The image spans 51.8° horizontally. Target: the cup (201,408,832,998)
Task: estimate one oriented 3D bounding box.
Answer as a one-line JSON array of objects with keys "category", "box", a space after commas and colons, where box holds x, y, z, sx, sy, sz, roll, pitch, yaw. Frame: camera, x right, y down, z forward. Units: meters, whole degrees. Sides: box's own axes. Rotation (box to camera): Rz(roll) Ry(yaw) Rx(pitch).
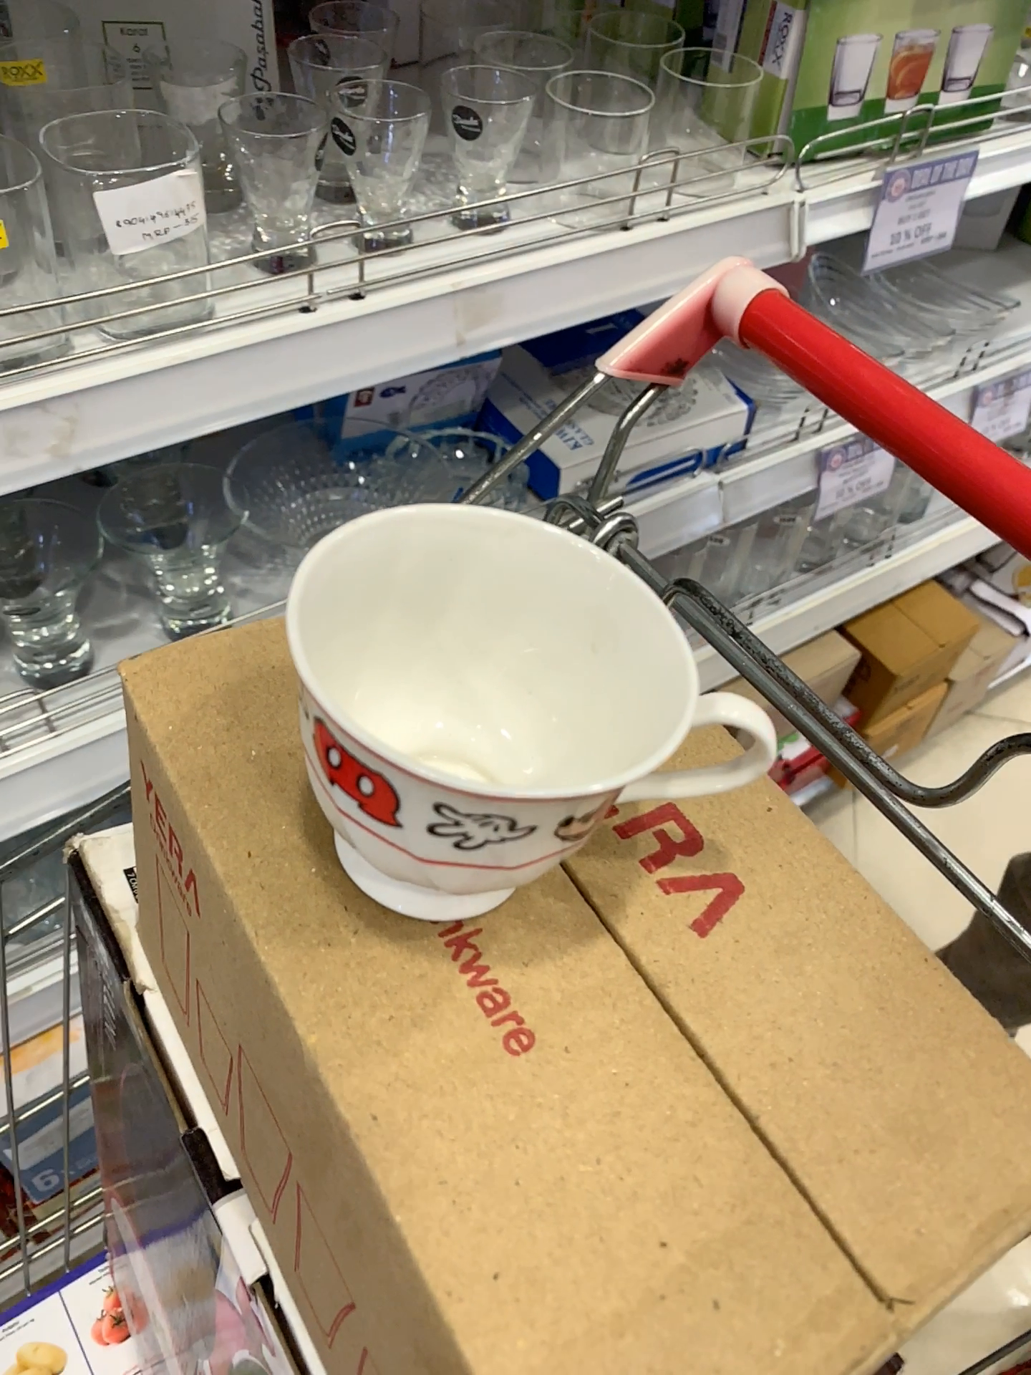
[{"category": "cup", "box": [0.000, 0.003, 0.213, 0.100, 0.060, 0.080, 12, 48, -3]}]
